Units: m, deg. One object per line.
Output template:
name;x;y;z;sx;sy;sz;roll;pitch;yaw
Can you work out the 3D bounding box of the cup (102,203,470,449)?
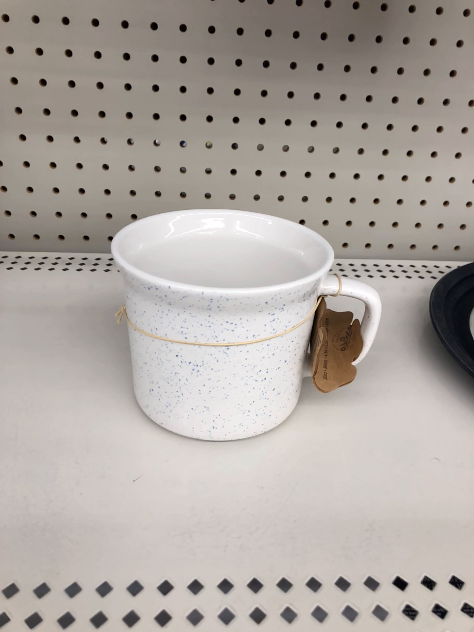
cup;0.016;-0.002;0.287;0.159;0.090;0.102;-1;29;-8
